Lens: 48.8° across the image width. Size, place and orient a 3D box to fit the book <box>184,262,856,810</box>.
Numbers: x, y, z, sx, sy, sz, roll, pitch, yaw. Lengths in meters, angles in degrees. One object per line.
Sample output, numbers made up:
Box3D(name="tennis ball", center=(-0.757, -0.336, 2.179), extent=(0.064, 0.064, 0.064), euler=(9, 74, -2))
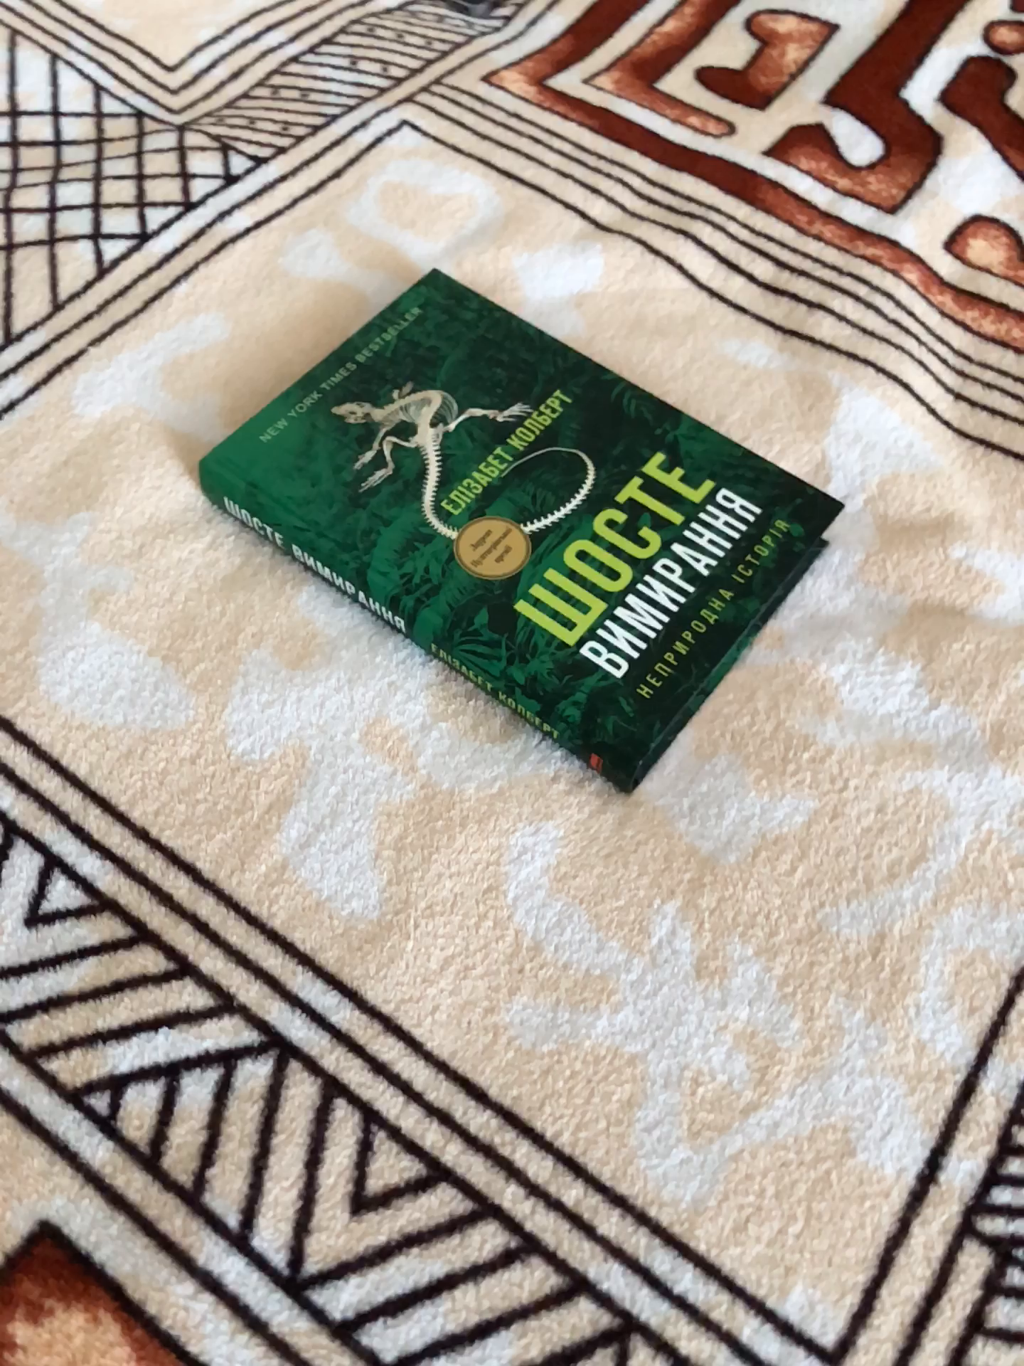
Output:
Box3D(name="book", center=(0.002, -0.072, 0.459), extent=(0.220, 0.030, 0.150), euler=(34, 65, 17))
